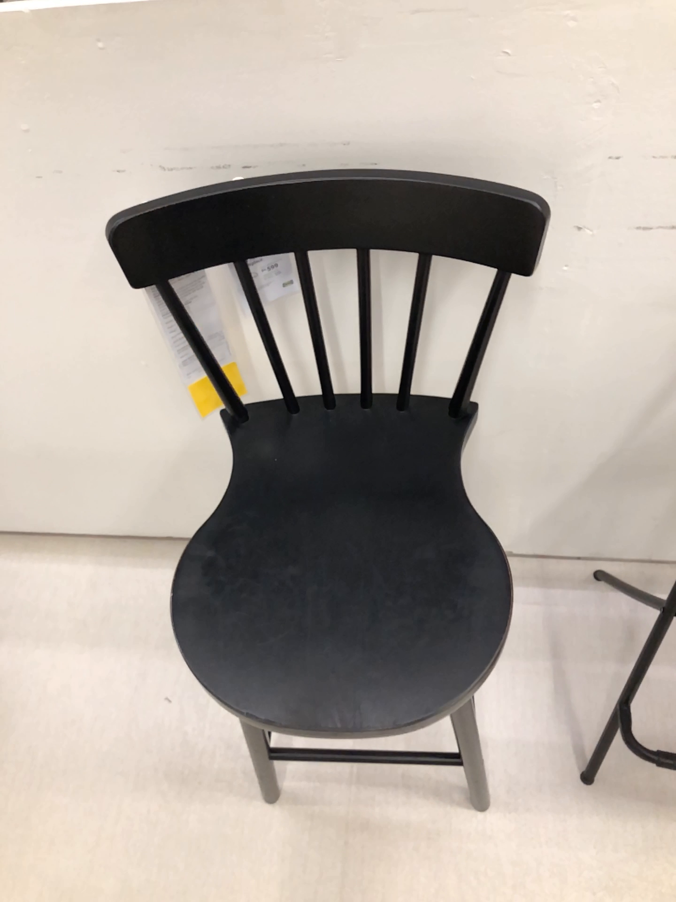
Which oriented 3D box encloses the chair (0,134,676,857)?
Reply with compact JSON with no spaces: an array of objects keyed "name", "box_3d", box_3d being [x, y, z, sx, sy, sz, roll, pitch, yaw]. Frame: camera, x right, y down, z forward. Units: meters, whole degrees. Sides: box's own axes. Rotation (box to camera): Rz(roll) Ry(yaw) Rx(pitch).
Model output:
[{"name":"chair","box_3d":[0.007,0.171,0.901,0.460,0.876,0.482,-1,57,6]}]
